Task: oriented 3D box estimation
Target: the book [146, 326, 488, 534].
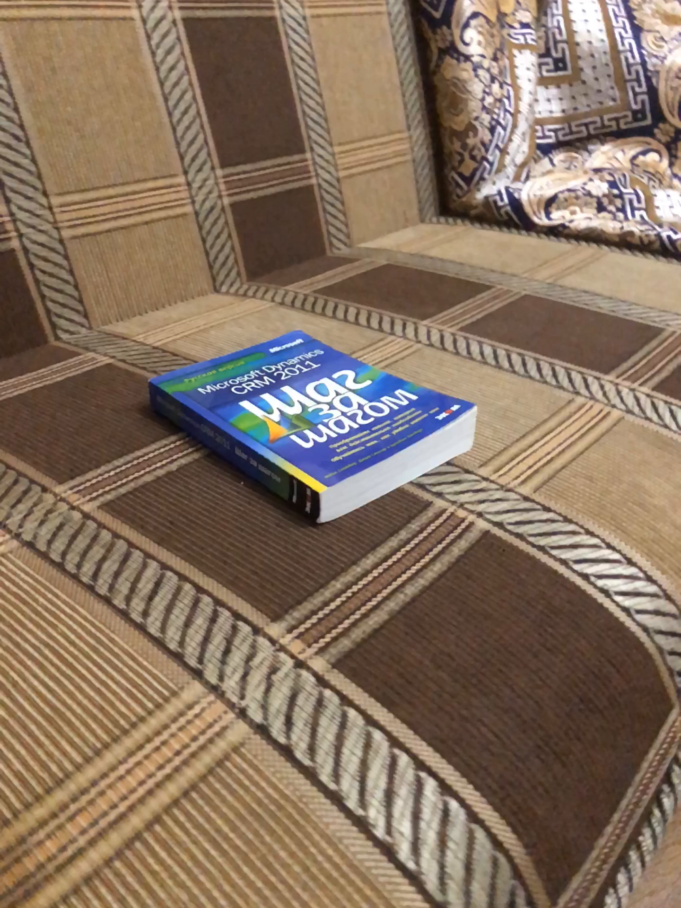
[{"bbox_3d":[-0.021,-0.031,0.542,0.151,0.033,0.201,-24,39,-36],"label":"book"}]
